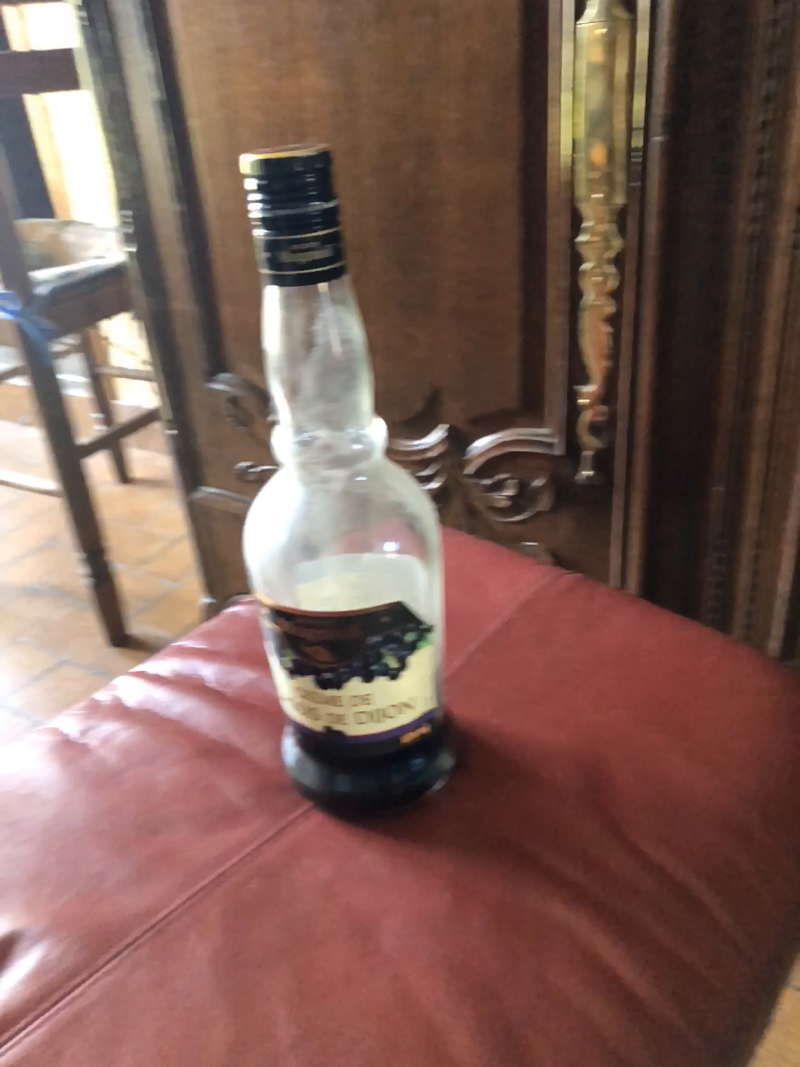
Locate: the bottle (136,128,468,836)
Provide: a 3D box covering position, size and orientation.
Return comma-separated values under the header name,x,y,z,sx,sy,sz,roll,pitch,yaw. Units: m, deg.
name,x,y,z,sx,sy,sz,roll,pitch,yaw
bottle,-0.024,-0.009,0.366,0.080,0.278,0.081,-4,28,2
